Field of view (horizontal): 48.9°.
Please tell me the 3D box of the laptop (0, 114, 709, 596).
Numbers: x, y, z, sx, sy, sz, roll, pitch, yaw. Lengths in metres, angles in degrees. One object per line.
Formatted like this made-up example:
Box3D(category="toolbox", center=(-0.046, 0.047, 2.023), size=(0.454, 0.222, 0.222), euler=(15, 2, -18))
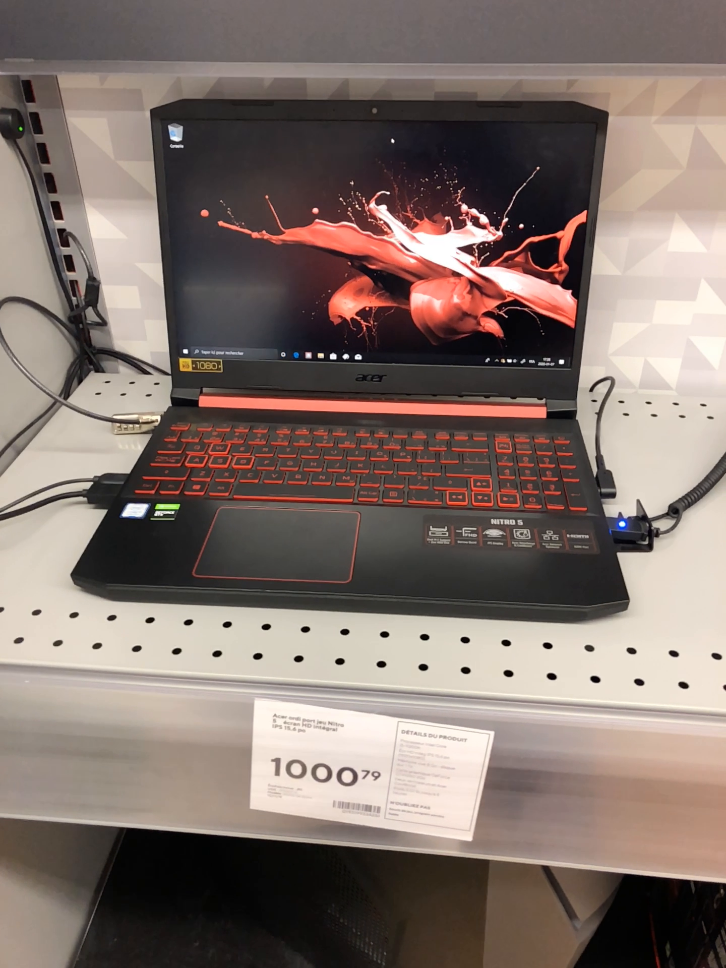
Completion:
Box3D(category="laptop", center=(0.000, -0.110, 0.580), size=(0.361, 0.241, 0.282), euler=(2, 35, 3))
